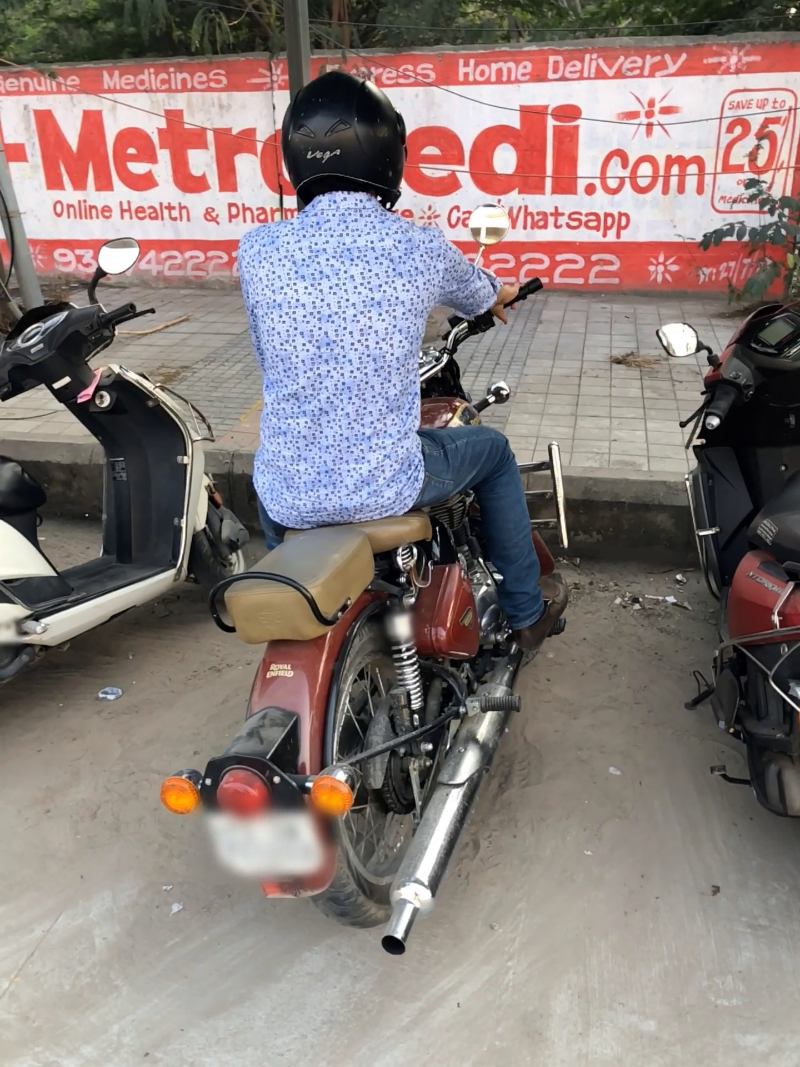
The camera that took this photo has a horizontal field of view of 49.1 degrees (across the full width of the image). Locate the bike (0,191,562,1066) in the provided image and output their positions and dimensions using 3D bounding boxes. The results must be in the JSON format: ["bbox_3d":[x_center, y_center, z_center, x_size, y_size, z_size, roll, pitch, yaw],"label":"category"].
[{"bbox_3d":[-0.099,0.006,2.181,0.793,1.256,1.557,5,31,14],"label":"bike"}]
